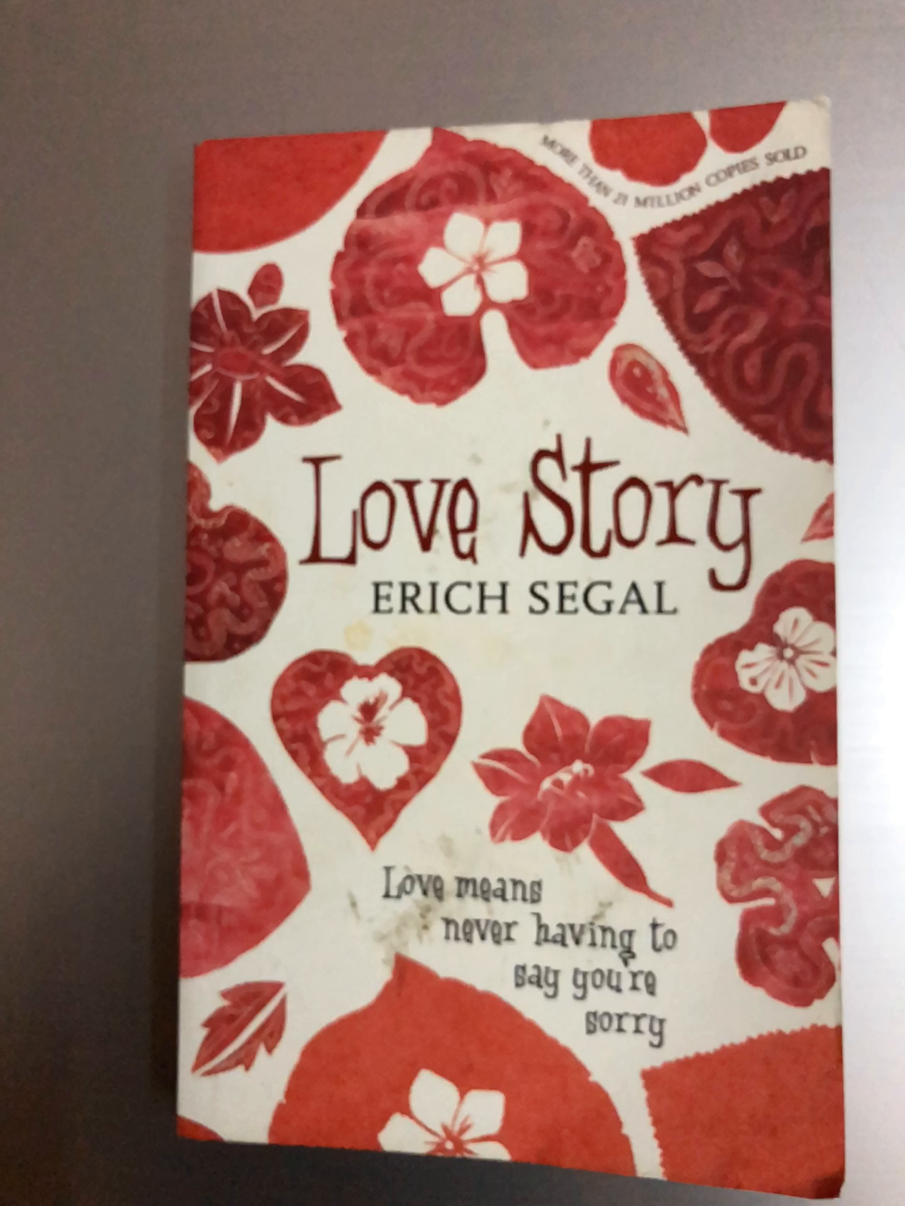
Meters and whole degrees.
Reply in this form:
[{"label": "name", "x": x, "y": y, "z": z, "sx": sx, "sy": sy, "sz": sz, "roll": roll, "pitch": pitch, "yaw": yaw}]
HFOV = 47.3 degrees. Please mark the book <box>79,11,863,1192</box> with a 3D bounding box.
[{"label": "book", "x": 0.003, "y": -0.002, "z": 0.178, "sx": 0.120, "sy": 0.030, "sz": 0.180, "roll": 0, "pitch": 87, "yaw": 6}]
